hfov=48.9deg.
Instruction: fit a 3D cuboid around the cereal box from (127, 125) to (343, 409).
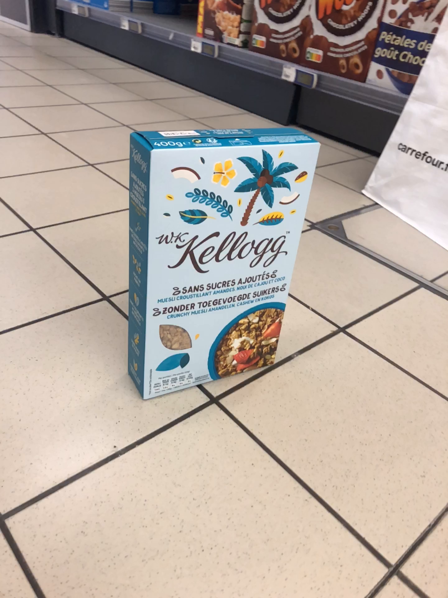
[{"bbox_3d":[0.000,-0.026,0.441,0.161,0.238,0.050,-11,37,-27],"label":"cereal box"}]
